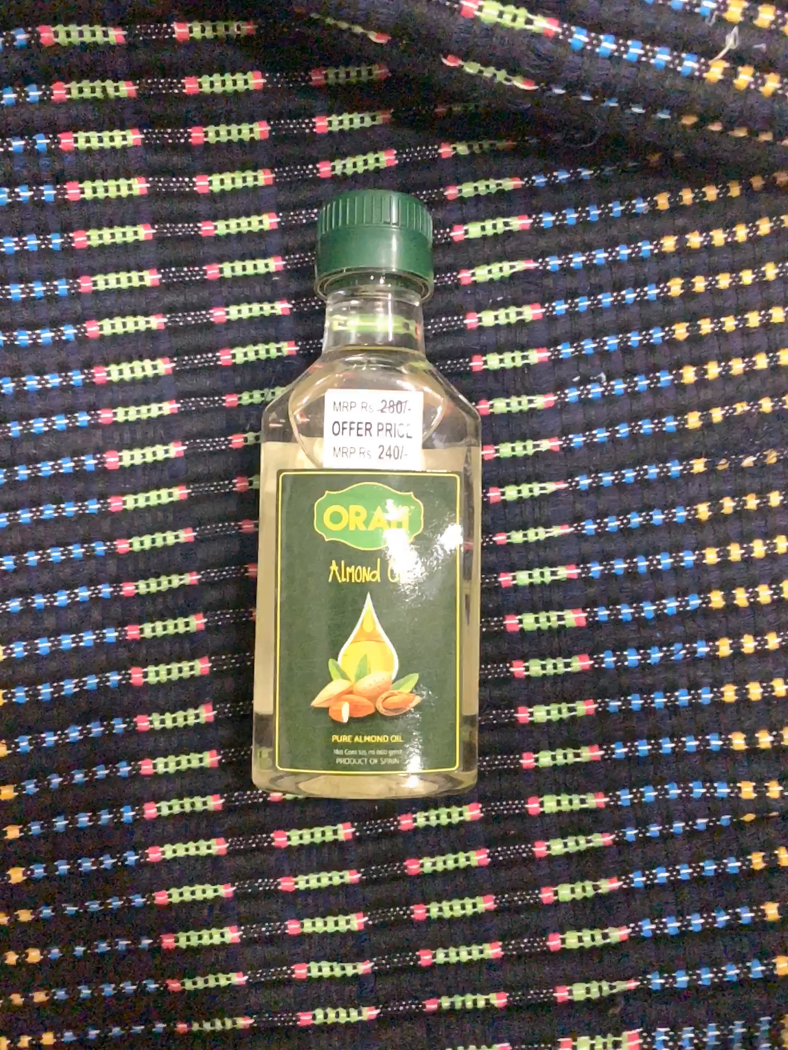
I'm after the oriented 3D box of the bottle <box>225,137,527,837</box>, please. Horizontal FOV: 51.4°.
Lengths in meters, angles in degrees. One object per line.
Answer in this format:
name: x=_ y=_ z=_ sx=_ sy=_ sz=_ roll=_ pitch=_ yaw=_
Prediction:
bottle: x=-0.003 y=-0.010 z=0.191 sx=0.060 sy=0.030 sz=0.150 roll=2 pitch=85 yaw=0
